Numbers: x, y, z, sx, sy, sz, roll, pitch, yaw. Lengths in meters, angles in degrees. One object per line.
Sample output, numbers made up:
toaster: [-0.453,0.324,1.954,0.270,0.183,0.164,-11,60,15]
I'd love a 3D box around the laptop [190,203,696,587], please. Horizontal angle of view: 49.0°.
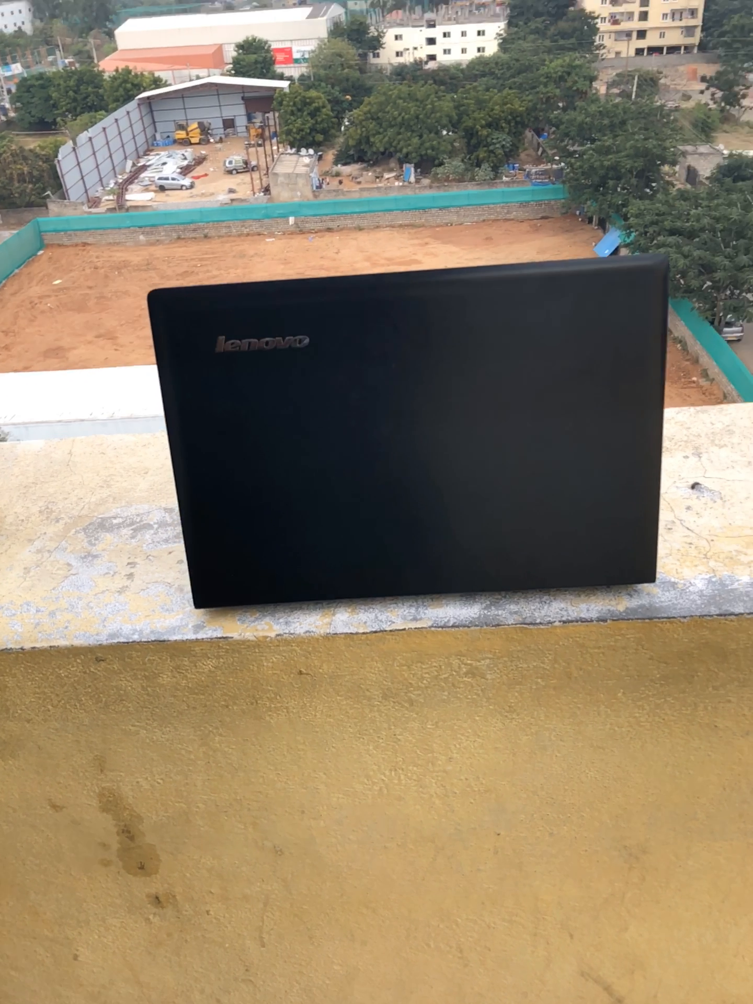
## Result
laptop: [0.050,-0.099,0.710,0.333,0.223,0.246,-3,33,4]
